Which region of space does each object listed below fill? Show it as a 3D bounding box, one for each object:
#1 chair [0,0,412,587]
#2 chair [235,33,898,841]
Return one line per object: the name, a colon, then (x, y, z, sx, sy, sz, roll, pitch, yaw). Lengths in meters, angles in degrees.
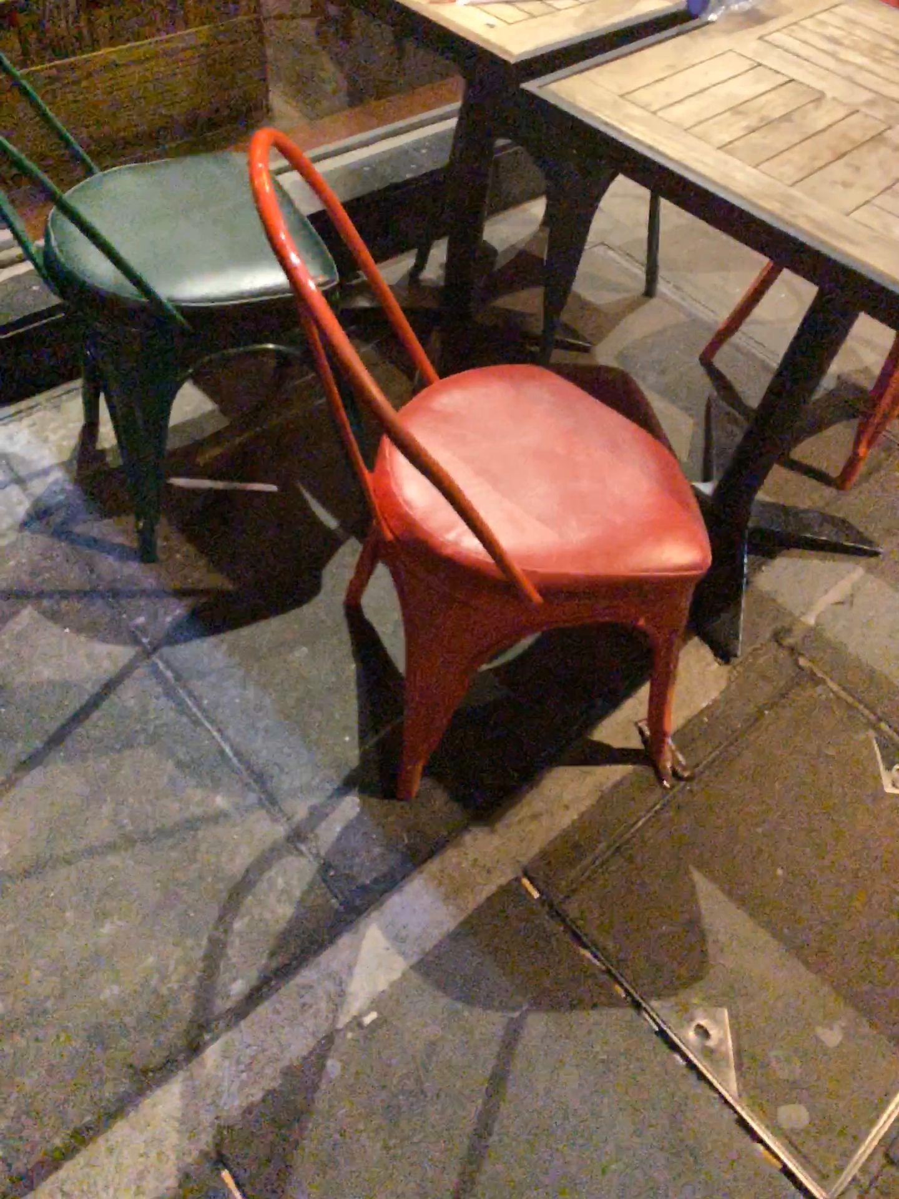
chair: (-0.368, -0.482, 1.297, 0.511, 0.833, 0.433, -17, 61, -12)
chair: (0.074, -0.135, 1.087, 0.510, 0.813, 0.433, -10, 53, -13)
